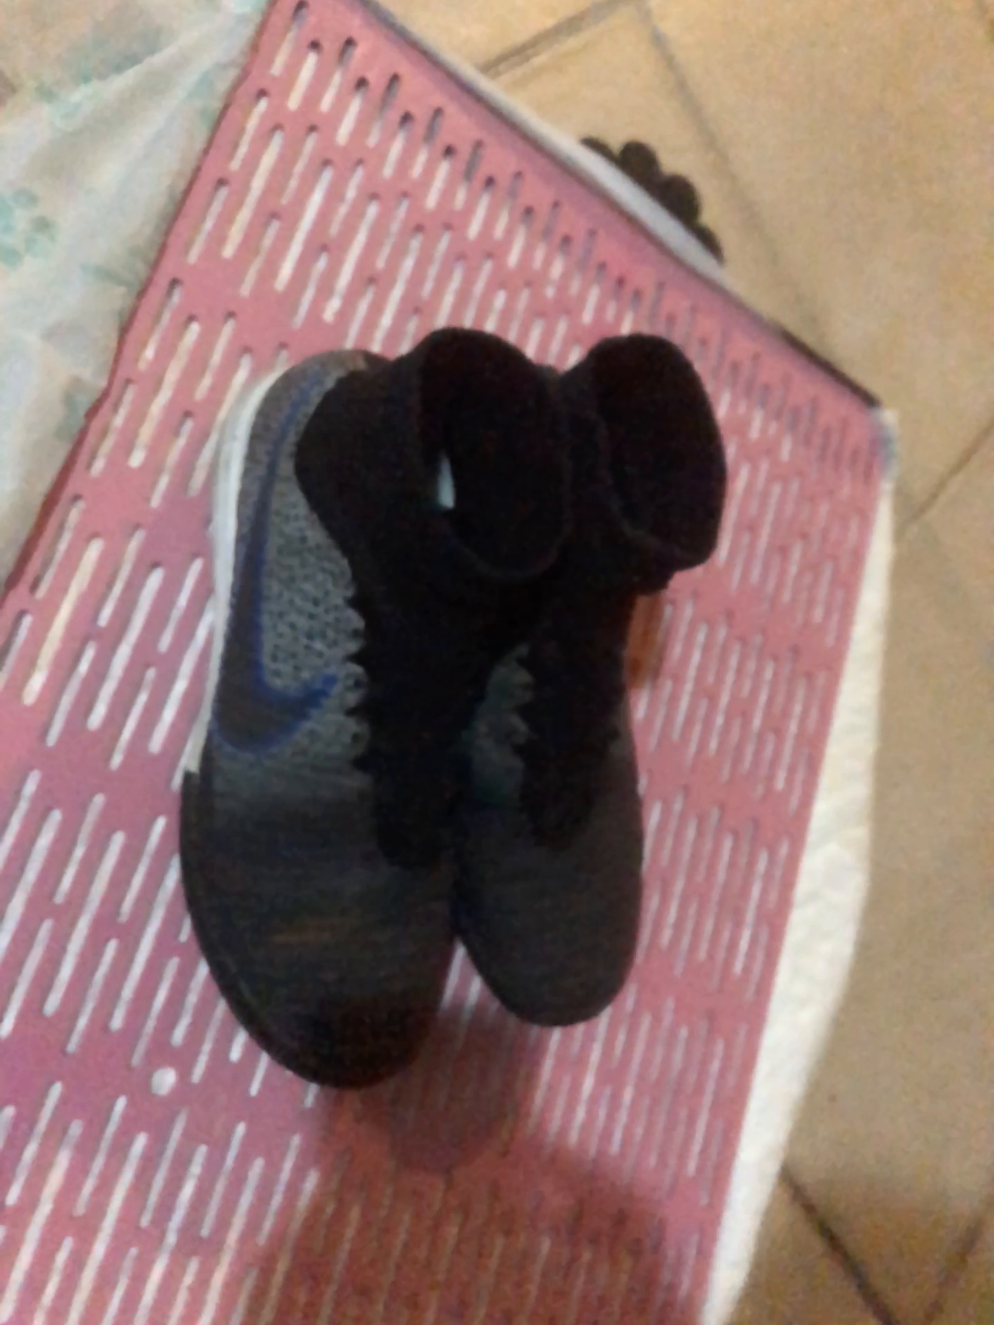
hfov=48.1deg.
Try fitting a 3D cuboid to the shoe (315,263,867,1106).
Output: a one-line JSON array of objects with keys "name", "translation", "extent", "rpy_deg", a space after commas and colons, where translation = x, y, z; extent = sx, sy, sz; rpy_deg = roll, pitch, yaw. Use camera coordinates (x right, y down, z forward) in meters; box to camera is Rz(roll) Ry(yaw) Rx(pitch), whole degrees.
[{"name": "shoe", "translation": [0.027, 0.007, 0.429], "extent": [0.101, 0.149, 0.260], "rpy_deg": [-9, 89, -34]}]

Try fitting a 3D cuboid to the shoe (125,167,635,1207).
[{"name": "shoe", "translation": [-0.050, 0.009, 0.378], "extent": [0.101, 0.149, 0.270], "rpy_deg": [0, 84, -34]}]
